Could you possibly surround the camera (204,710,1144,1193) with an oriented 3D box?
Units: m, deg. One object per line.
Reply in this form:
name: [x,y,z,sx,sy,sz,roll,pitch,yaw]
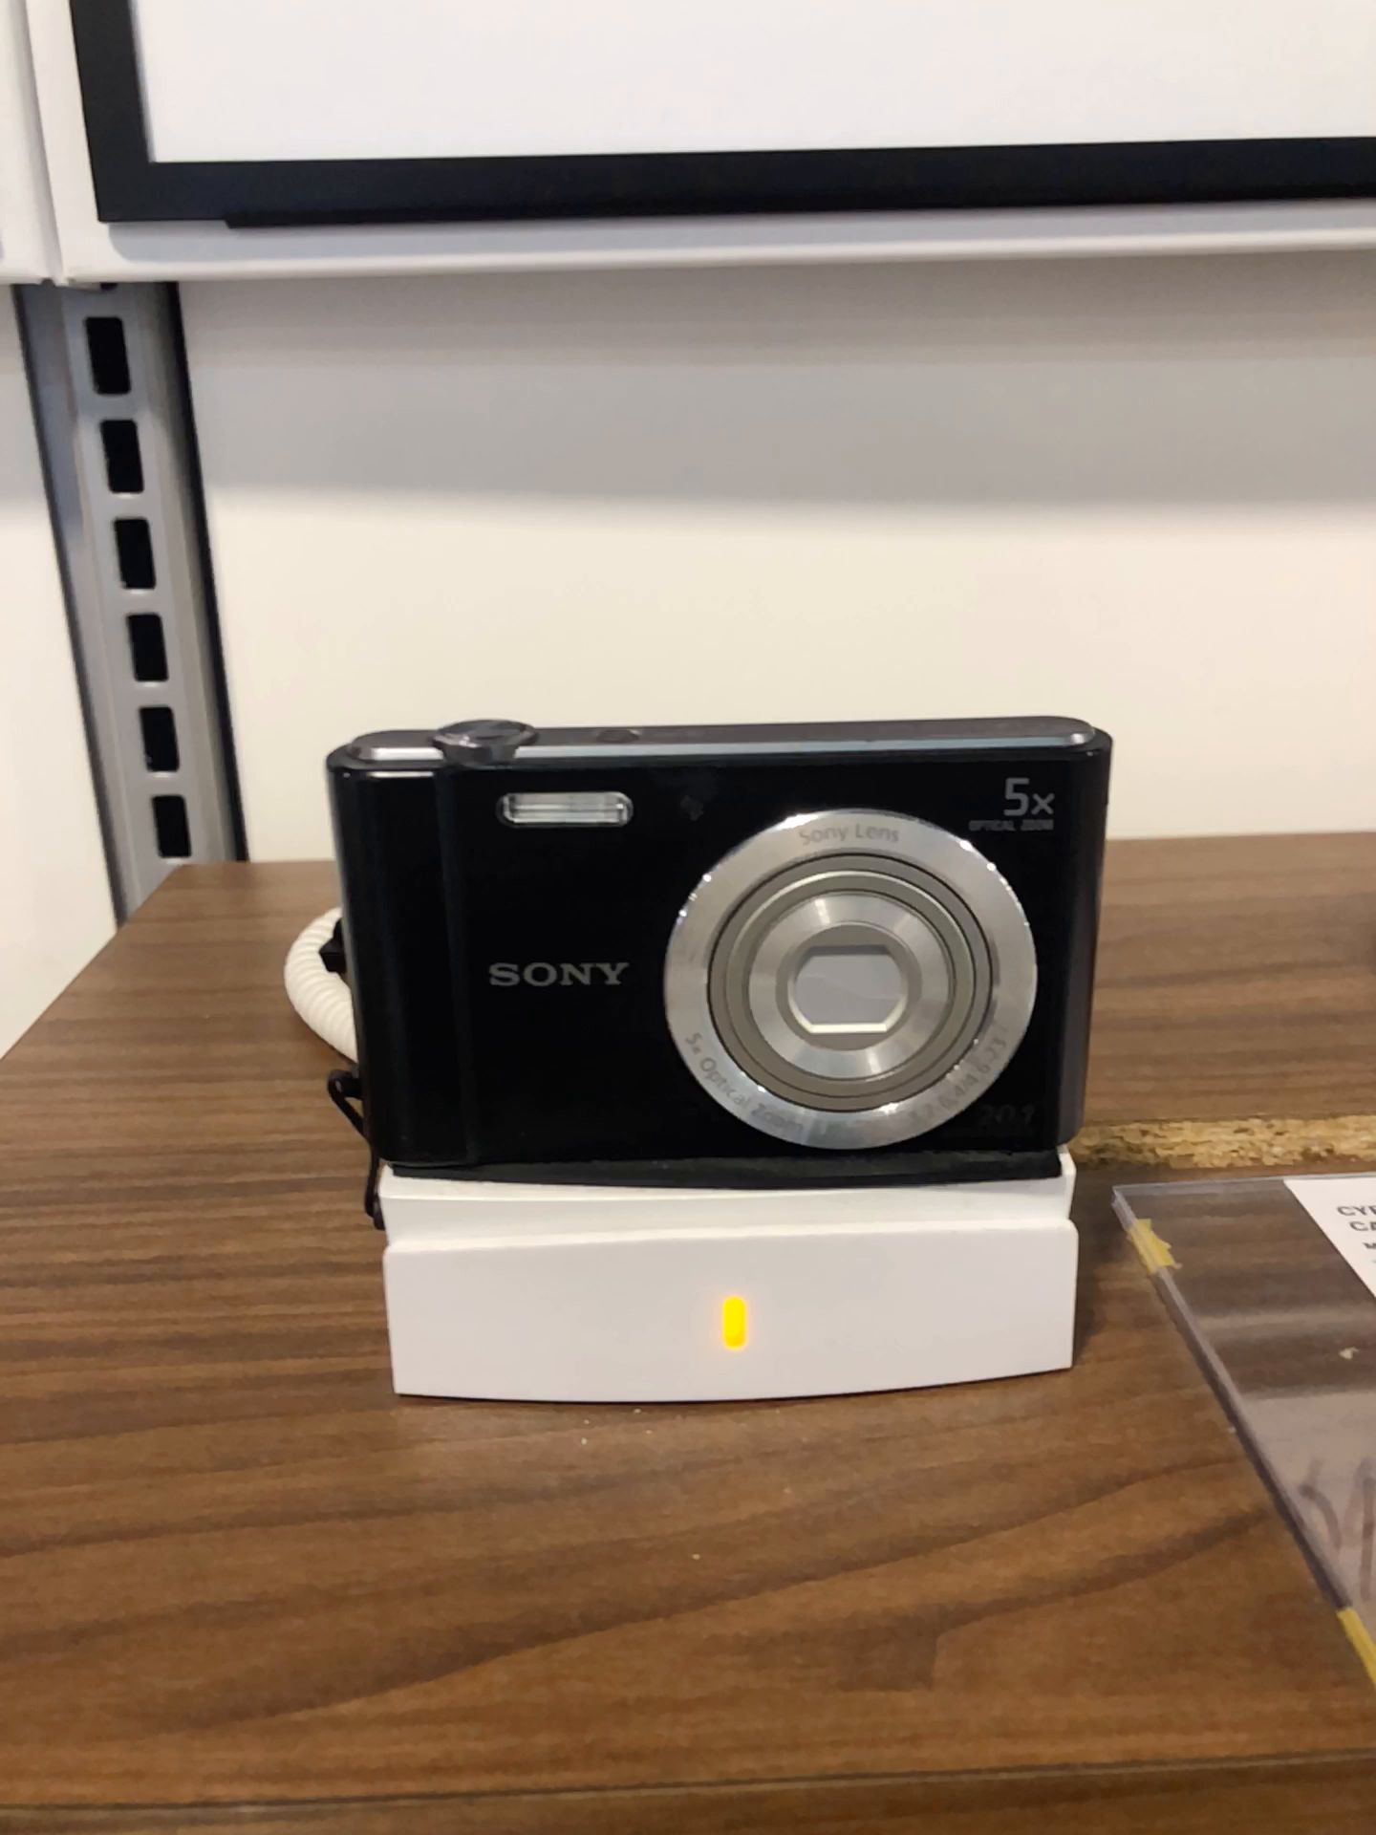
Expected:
camera: [-0.001,0.003,0.184,0.100,0.050,0.030,0,18,3]
